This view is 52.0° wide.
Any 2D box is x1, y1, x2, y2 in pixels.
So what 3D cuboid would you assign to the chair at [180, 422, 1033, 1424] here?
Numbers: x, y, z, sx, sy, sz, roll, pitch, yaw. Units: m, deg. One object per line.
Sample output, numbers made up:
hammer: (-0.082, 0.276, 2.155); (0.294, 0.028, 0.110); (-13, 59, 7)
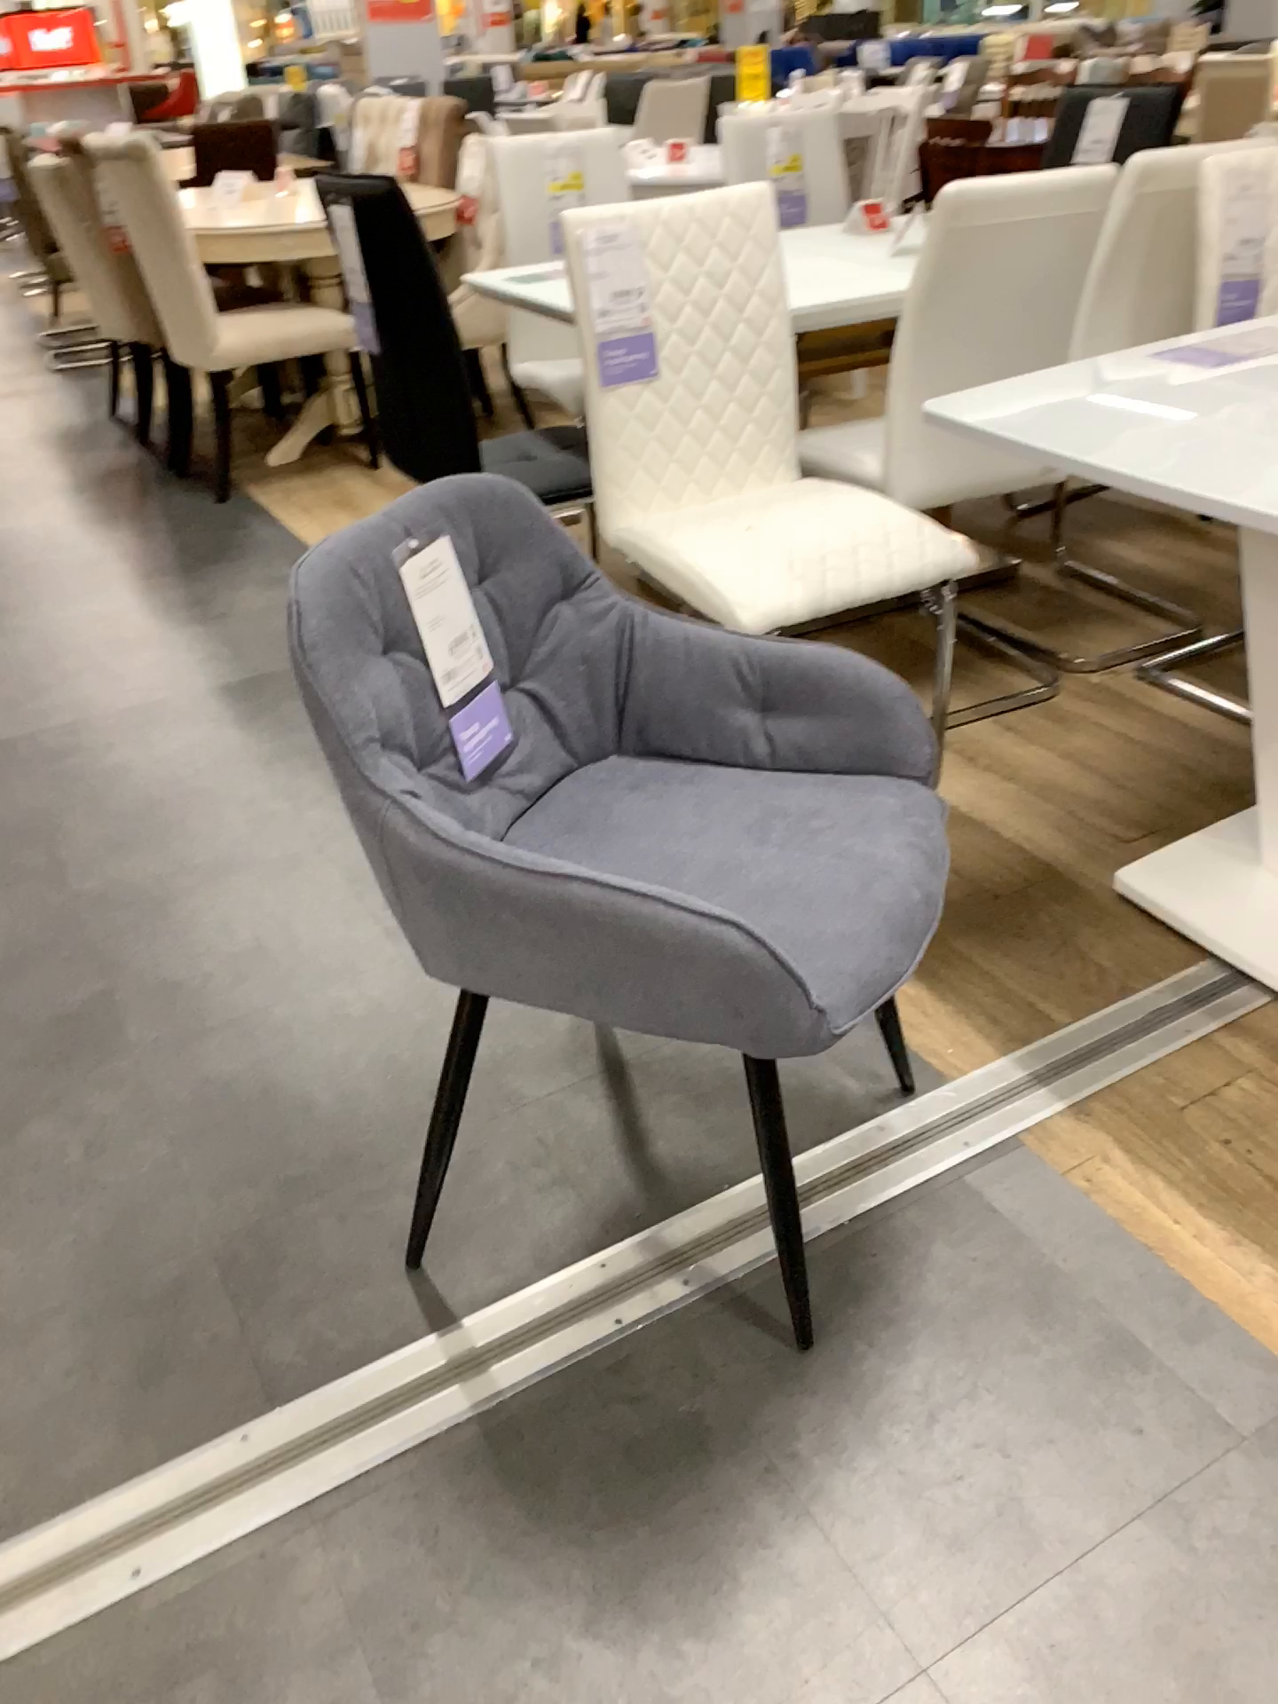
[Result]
chair: (0.021, 0.028, 1.390); (0.590, 0.776, 0.563); (11, 34, 22)
